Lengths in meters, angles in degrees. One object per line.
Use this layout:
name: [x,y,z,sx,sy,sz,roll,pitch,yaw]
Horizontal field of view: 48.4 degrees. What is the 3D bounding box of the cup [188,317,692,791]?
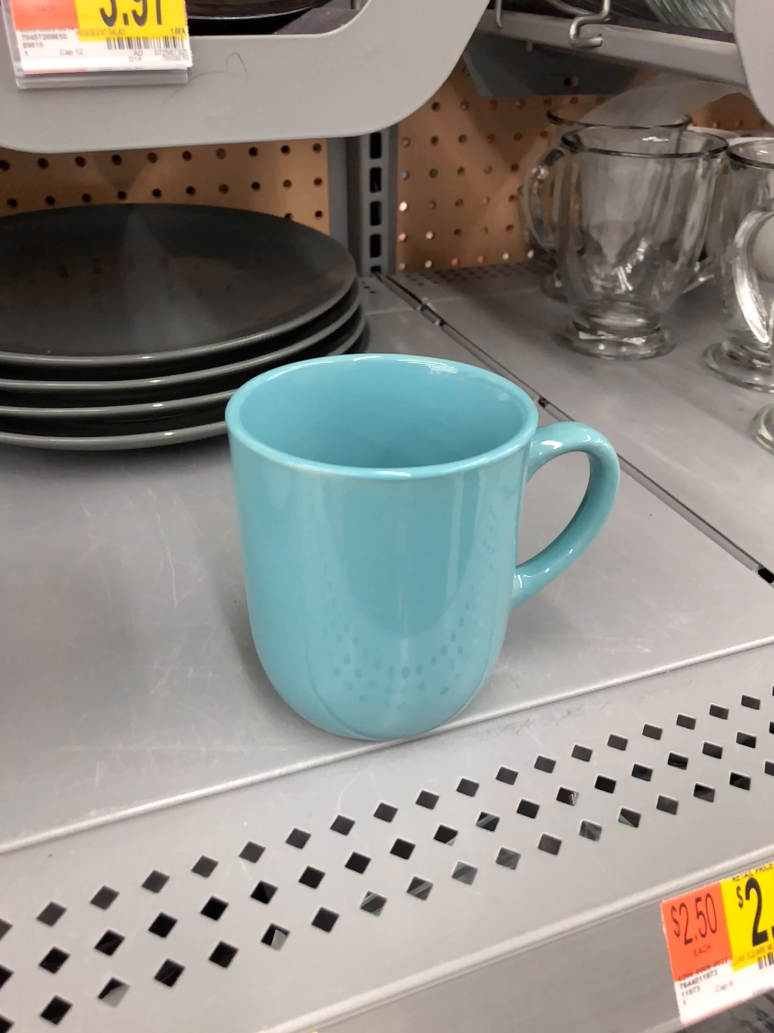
cup: [0.010,0.003,0.267,0.114,0.091,0.091,-12,33,-20]
